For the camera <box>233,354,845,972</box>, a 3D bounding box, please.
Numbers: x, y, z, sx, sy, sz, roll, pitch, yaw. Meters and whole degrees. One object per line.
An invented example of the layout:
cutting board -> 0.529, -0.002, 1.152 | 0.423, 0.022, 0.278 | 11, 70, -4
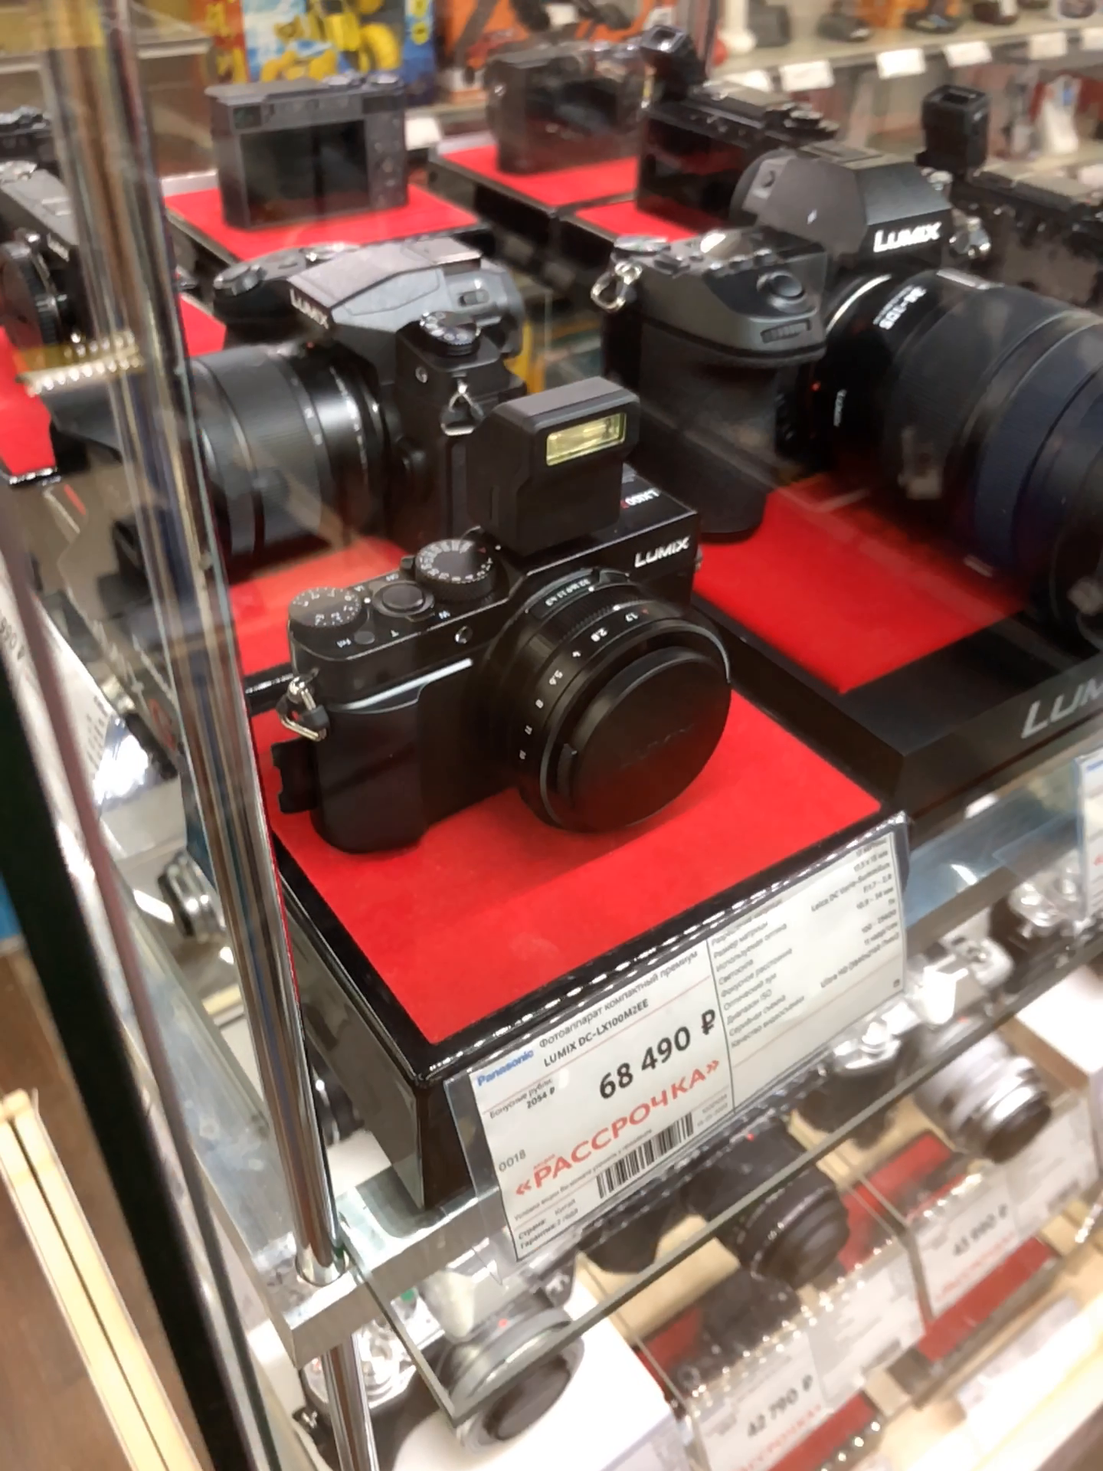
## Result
camera -> -0.003, -0.023, 0.302 | 0.117, 0.098, 0.069 | -24, 45, -29

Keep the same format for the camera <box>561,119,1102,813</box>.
camera -> 0.143, -0.113, 0.417 | 0.175, 0.114, 0.227 | -24, 45, -29

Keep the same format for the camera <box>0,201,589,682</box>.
camera -> -0.080, -0.097, 0.375 | 0.149, 0.081, 0.099 | -21, 44, -27
